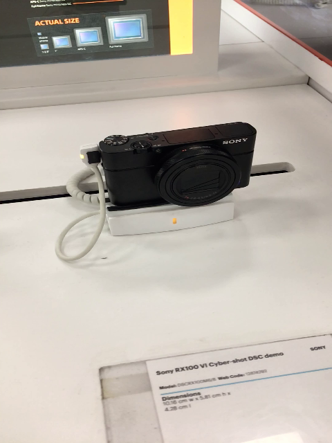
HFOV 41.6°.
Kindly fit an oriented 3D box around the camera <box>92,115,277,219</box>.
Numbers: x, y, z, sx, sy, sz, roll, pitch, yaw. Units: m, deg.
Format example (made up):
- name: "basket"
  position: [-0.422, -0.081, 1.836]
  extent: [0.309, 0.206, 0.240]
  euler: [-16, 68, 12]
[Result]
- name: "camera"
  position: [0.013, -0.043, 0.343]
  extent: [0.126, 0.059, 0.042]
  euler: [-8, 46, -7]
